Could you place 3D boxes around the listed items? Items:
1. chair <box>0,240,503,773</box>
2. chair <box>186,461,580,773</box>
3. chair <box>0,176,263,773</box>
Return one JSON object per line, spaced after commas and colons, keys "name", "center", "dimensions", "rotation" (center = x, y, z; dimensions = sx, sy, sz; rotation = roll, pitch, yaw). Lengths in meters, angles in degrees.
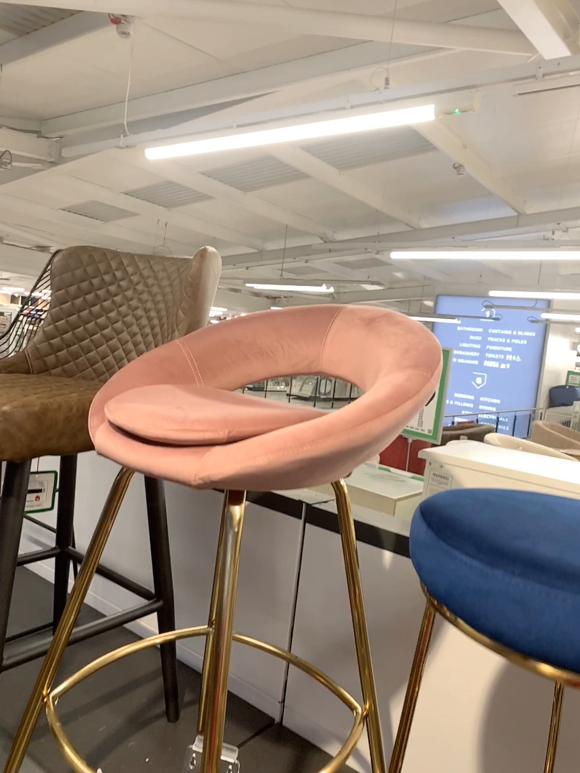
{"name": "chair", "center": [-0.077, 0.272, 0.866], "dimensions": [0.492, 0.860, 0.461], "rotation": [9, 4, 41]}
{"name": "chair", "center": [0.250, 0.441, 0.561], "dimensions": [0.462, 0.620, 0.431], "rotation": [9, 4, 41]}
{"name": "chair", "center": [-0.440, 0.166, 1.132], "dimensions": [0.502, 0.960, 0.451], "rotation": [9, 4, 35]}
